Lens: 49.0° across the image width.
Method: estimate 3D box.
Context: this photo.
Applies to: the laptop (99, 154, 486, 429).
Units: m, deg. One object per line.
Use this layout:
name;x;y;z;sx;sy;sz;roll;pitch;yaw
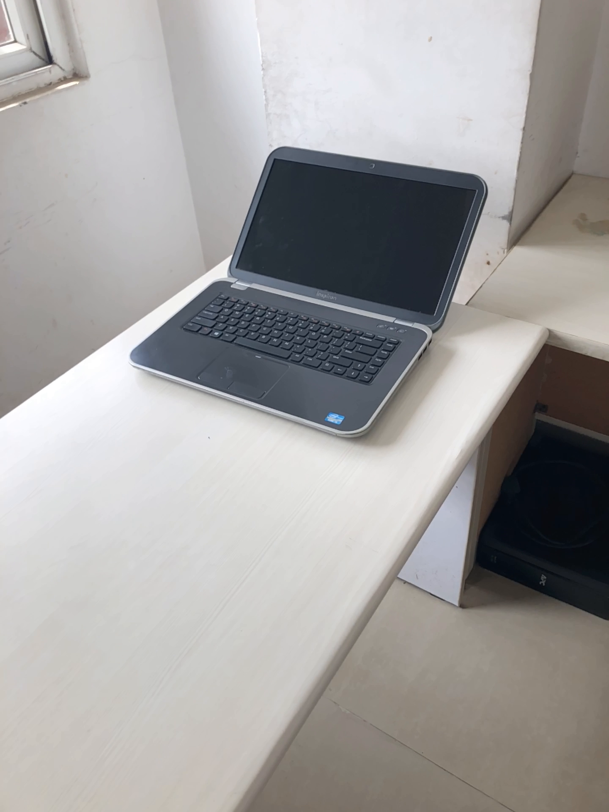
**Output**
laptop;0.006;-0.191;0.933;0.342;0.145;0.408;18;45;24
